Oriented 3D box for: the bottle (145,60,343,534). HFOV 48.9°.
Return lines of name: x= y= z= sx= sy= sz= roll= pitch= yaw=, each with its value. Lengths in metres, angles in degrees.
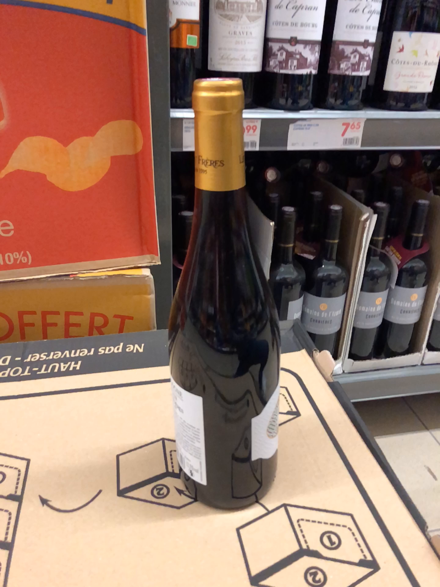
bottle: x=0.003 y=0.013 z=0.322 sx=0.080 sy=0.298 sz=0.090 roll=-6 pitch=28 yaw=-15
